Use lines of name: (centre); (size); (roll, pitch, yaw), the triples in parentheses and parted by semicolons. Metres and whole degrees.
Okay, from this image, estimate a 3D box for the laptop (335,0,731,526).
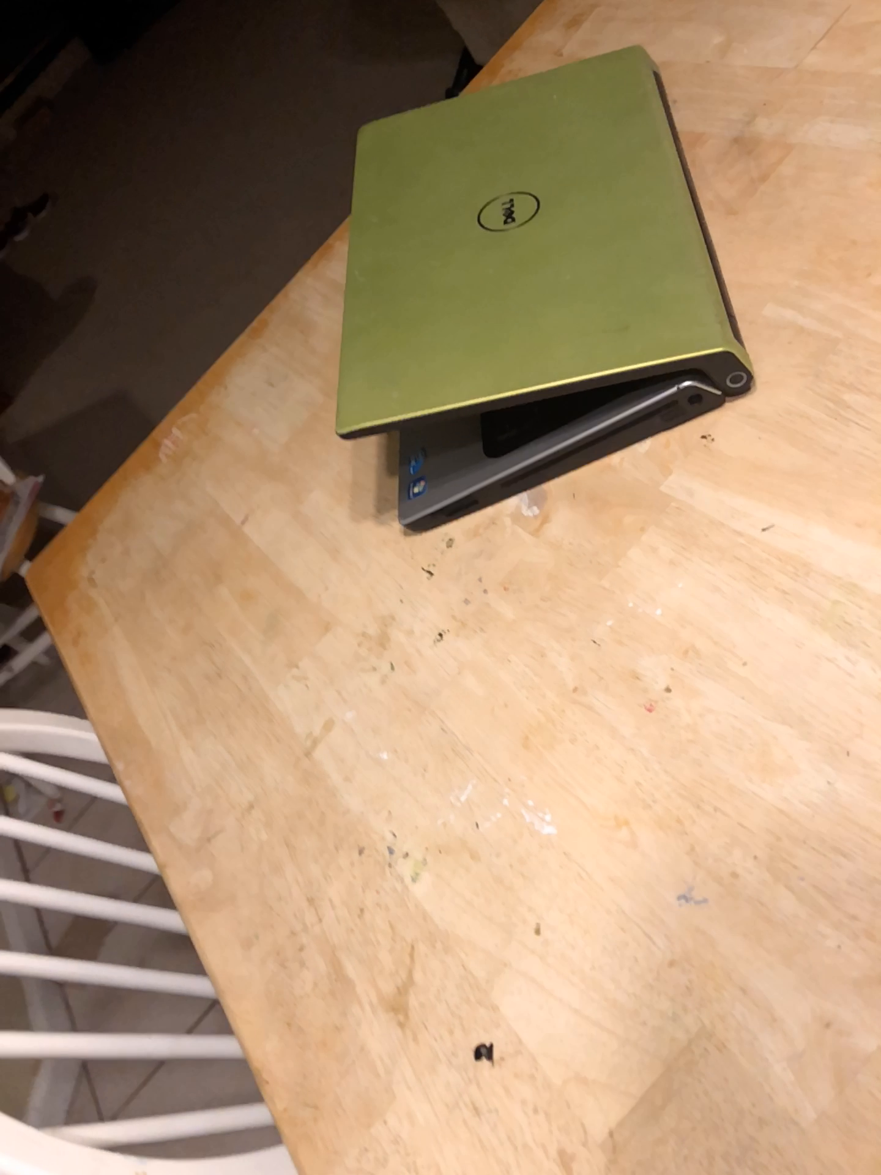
laptop: (0.052, -0.245, 0.672); (0.227, 0.076, 0.360); (-23, 47, 28)
